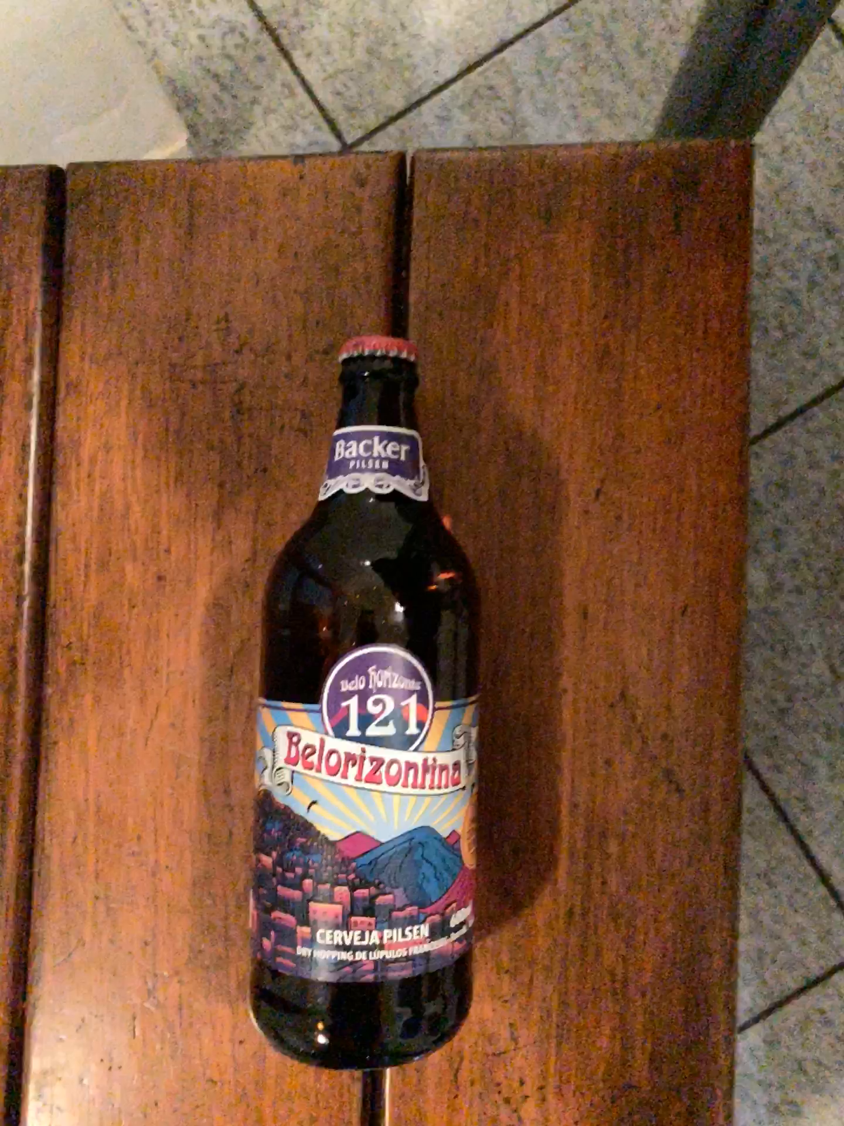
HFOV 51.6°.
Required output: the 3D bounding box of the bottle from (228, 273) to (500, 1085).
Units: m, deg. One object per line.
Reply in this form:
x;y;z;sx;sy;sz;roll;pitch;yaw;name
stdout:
-0.018;0.033;0.287;0.080;0.050;0.240;0;88;-4;bottle
